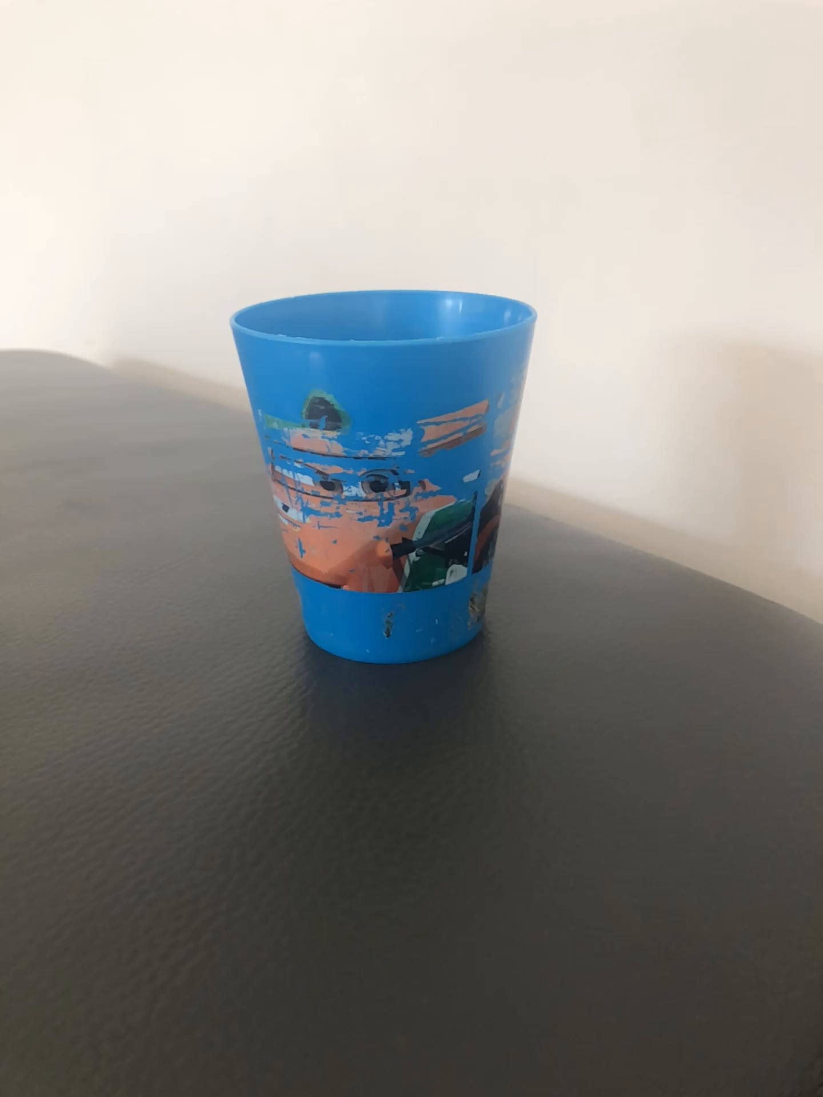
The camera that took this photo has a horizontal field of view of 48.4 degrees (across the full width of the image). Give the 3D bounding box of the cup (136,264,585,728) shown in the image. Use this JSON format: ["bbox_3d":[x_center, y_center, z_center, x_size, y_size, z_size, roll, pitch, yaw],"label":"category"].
[{"bbox_3d":[-0.012,-0.022,0.249,0.080,0.090,0.080,-1,25,1],"label":"cup"}]
